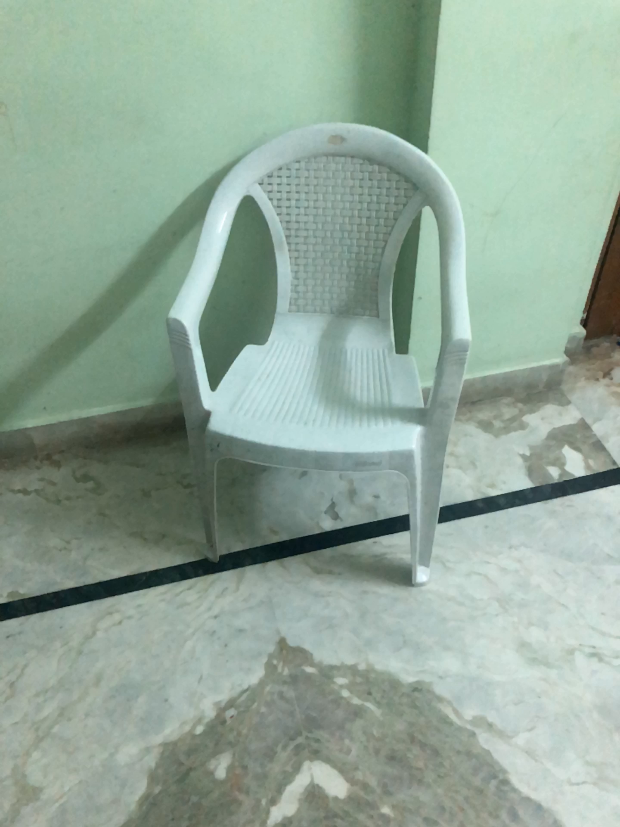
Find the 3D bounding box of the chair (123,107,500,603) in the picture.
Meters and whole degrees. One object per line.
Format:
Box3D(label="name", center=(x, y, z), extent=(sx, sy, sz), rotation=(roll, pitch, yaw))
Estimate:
Box3D(label="chair", center=(0.051, -0.103, 1.412), extent=(0.530, 0.824, 0.533), rotation=(6, 44, 9))
